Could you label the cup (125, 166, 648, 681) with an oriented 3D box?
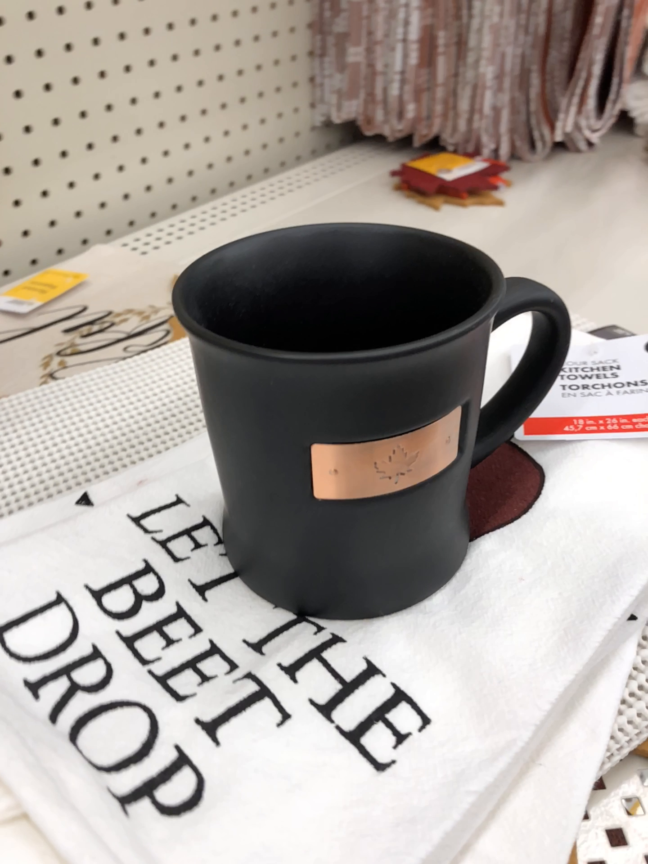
[{"bbox_3d":[0.023,-0.013,0.256,0.140,0.110,0.100,-19,41,-20],"label":"cup"}]
